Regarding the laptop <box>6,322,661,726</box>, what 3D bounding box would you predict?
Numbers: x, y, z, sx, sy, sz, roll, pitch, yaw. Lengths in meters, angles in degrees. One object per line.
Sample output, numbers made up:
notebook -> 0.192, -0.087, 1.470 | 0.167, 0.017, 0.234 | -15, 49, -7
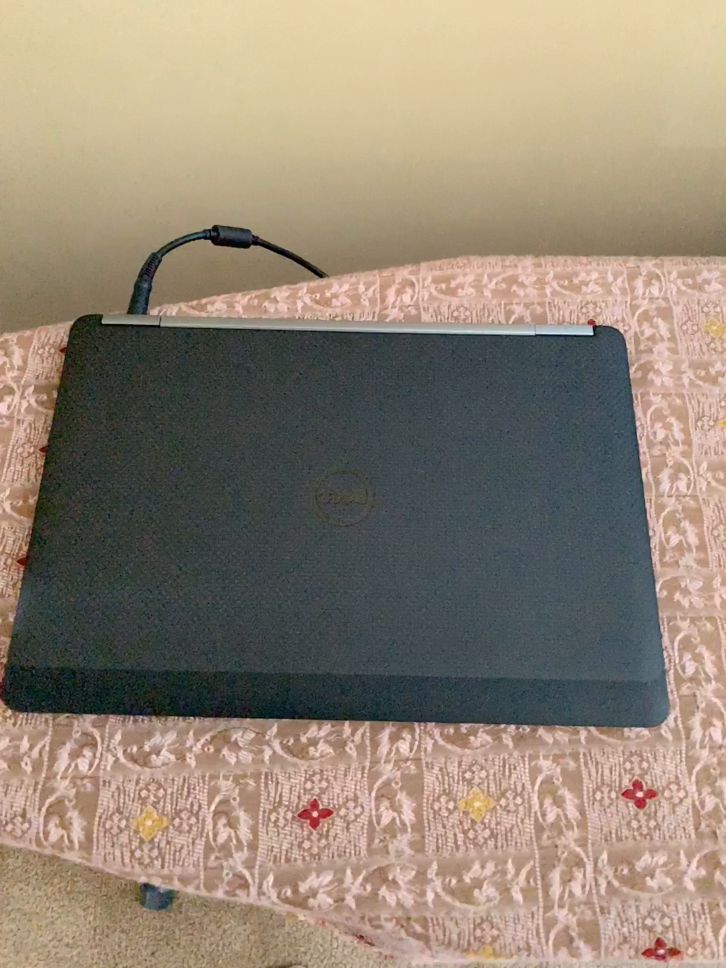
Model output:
laptop -> -0.014, 0.011, 0.372 | 0.294, 0.017, 0.197 | 1, 71, 4
